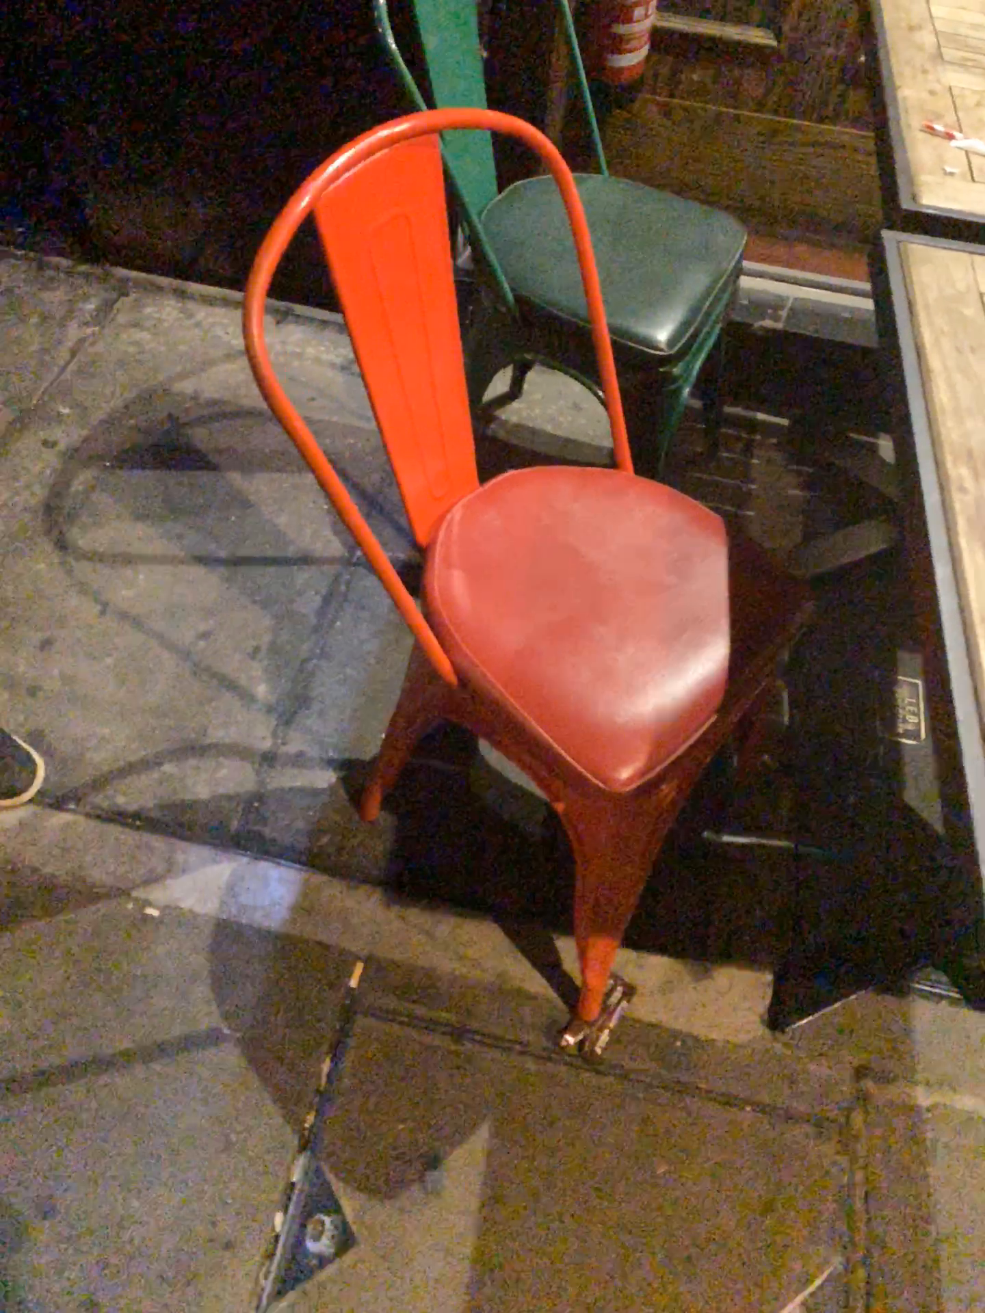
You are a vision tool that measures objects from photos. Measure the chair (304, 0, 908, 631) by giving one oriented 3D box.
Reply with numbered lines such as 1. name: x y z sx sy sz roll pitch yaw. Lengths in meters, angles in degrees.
1. chair: 0.143 -0.542 1.418 0.511 0.833 0.433 27 59 20

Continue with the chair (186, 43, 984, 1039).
1. chair: 0.081 -0.066 1.051 0.512 0.813 0.433 34 56 20
